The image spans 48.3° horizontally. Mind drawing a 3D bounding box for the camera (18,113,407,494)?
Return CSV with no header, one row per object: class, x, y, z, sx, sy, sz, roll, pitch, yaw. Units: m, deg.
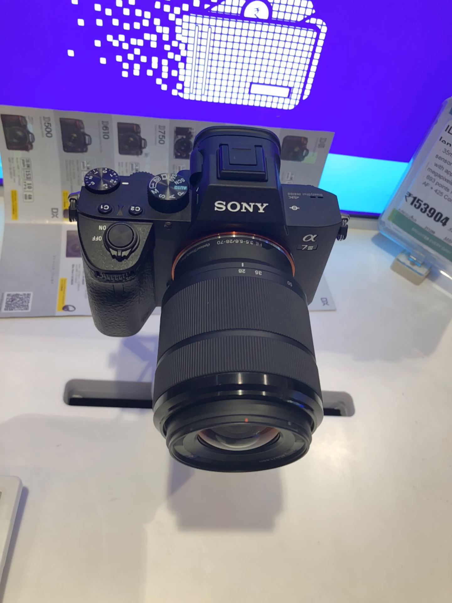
camera,-0.016,0.001,0.234,0.120,0.109,0.128,0,51,-12
